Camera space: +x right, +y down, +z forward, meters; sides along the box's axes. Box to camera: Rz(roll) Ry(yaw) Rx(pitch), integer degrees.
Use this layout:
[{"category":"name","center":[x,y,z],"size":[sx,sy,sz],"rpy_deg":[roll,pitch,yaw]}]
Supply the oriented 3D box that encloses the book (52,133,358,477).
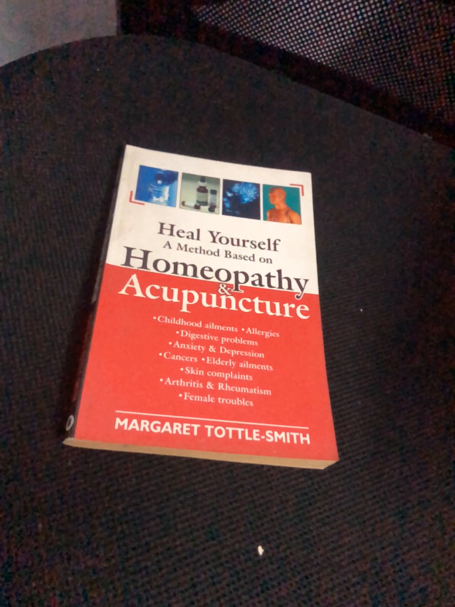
[{"category":"book","center":[-0.006,-0.013,0.314],"size":[0.150,0.020,0.221],"rpy_deg":[8,56,-9]}]
